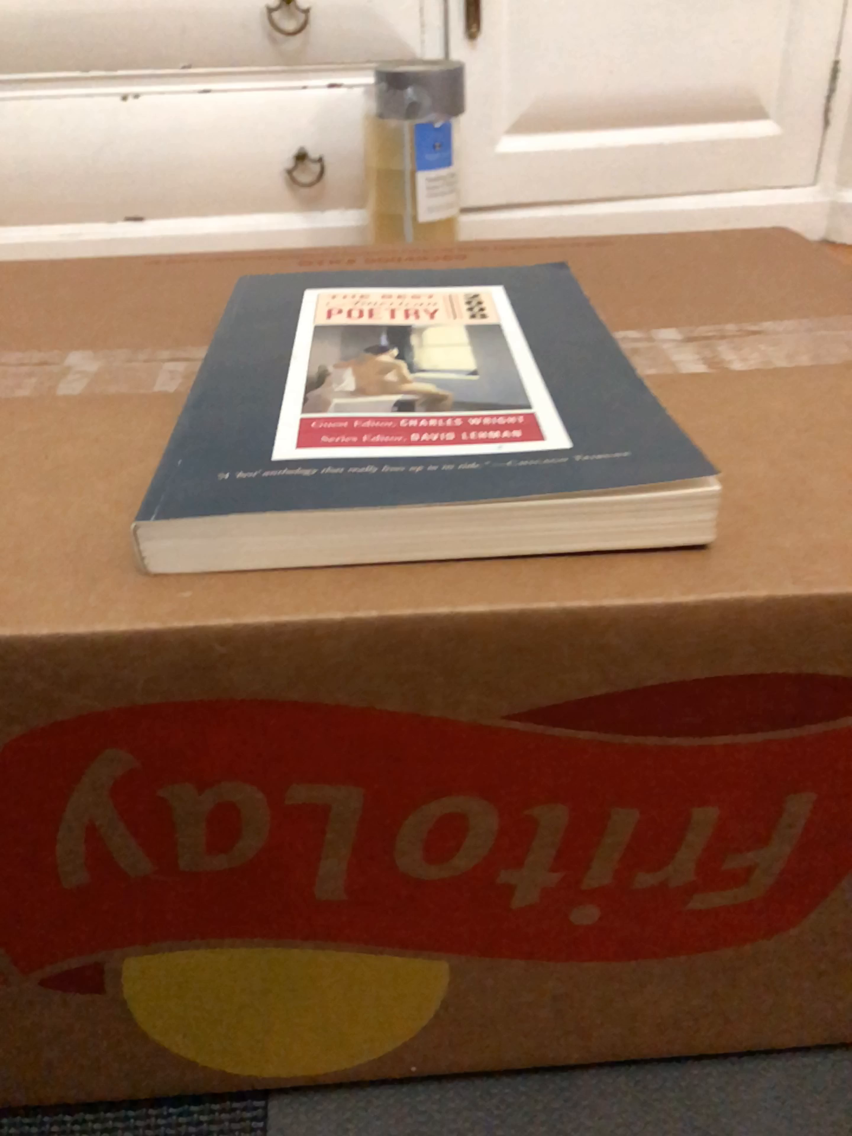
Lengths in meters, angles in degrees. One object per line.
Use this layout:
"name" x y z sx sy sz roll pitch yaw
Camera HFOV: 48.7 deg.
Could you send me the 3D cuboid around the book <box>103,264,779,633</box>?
"book" -0.003 -0.058 0.312 0.150 0.020 0.231 -4 32 -2
